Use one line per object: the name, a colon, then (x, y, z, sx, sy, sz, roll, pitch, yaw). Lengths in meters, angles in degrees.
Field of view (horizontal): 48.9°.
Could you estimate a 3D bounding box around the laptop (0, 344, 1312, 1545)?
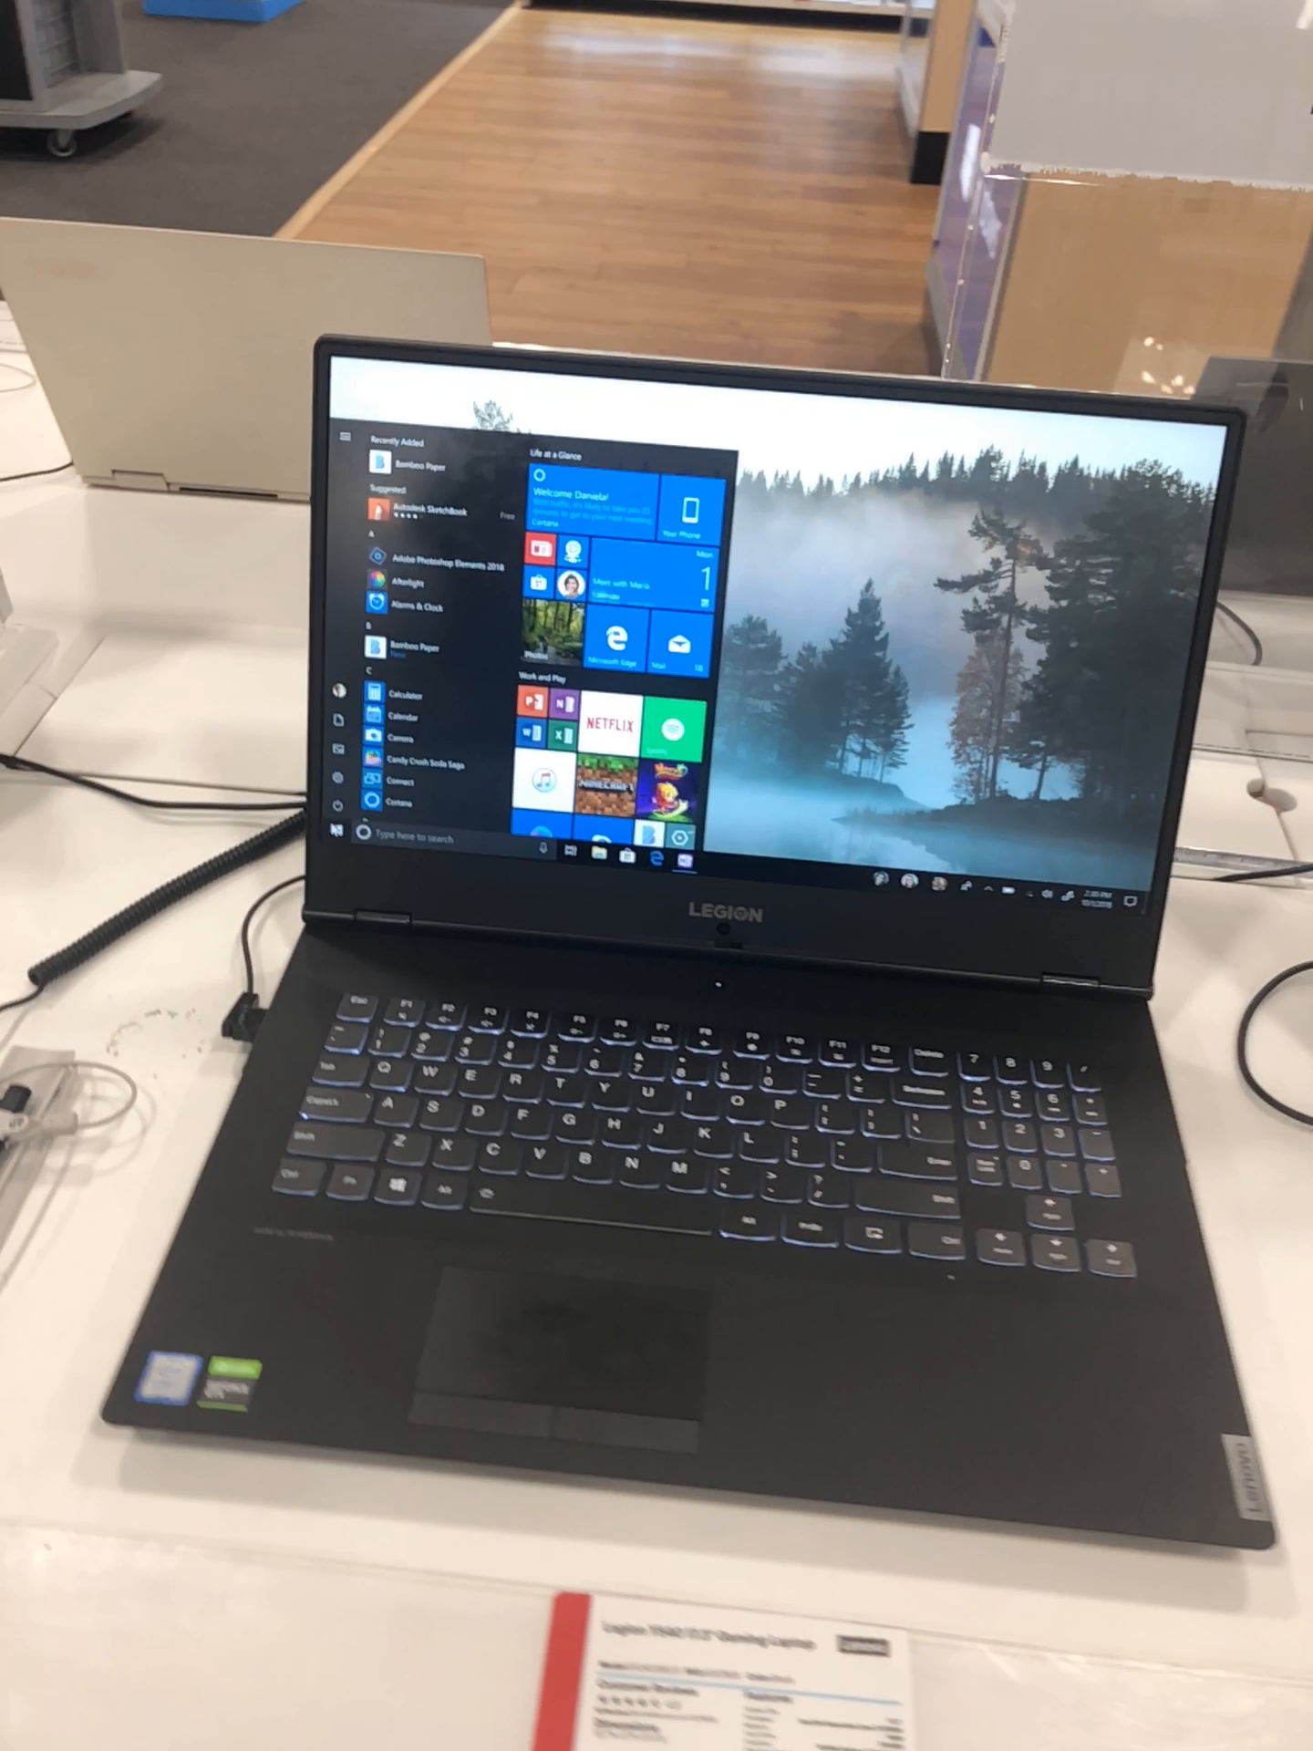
laptop: (0.020, -0.002, 0.549, 0.382, 0.241, 0.359, 6, 38, 1)
